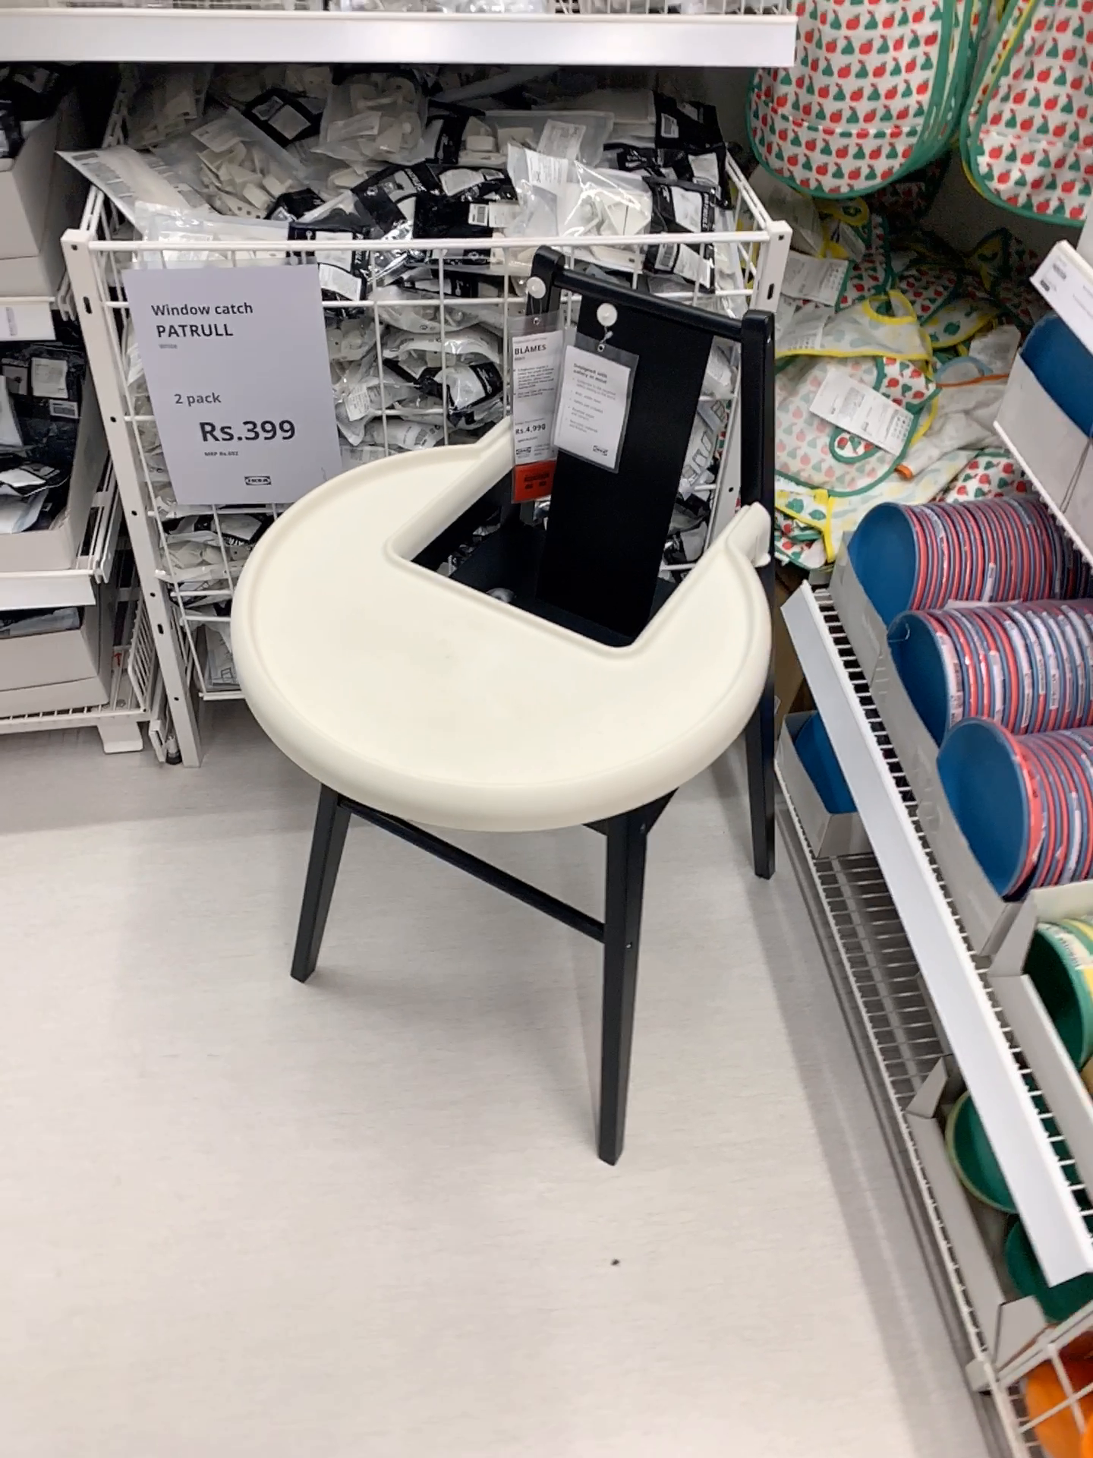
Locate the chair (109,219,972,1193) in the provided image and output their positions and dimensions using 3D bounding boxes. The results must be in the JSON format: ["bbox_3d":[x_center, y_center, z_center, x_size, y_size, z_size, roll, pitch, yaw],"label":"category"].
[{"bbox_3d":[0.008,-0.010,1.235,0.530,0.777,0.551,25,51,19],"label":"chair"}]
